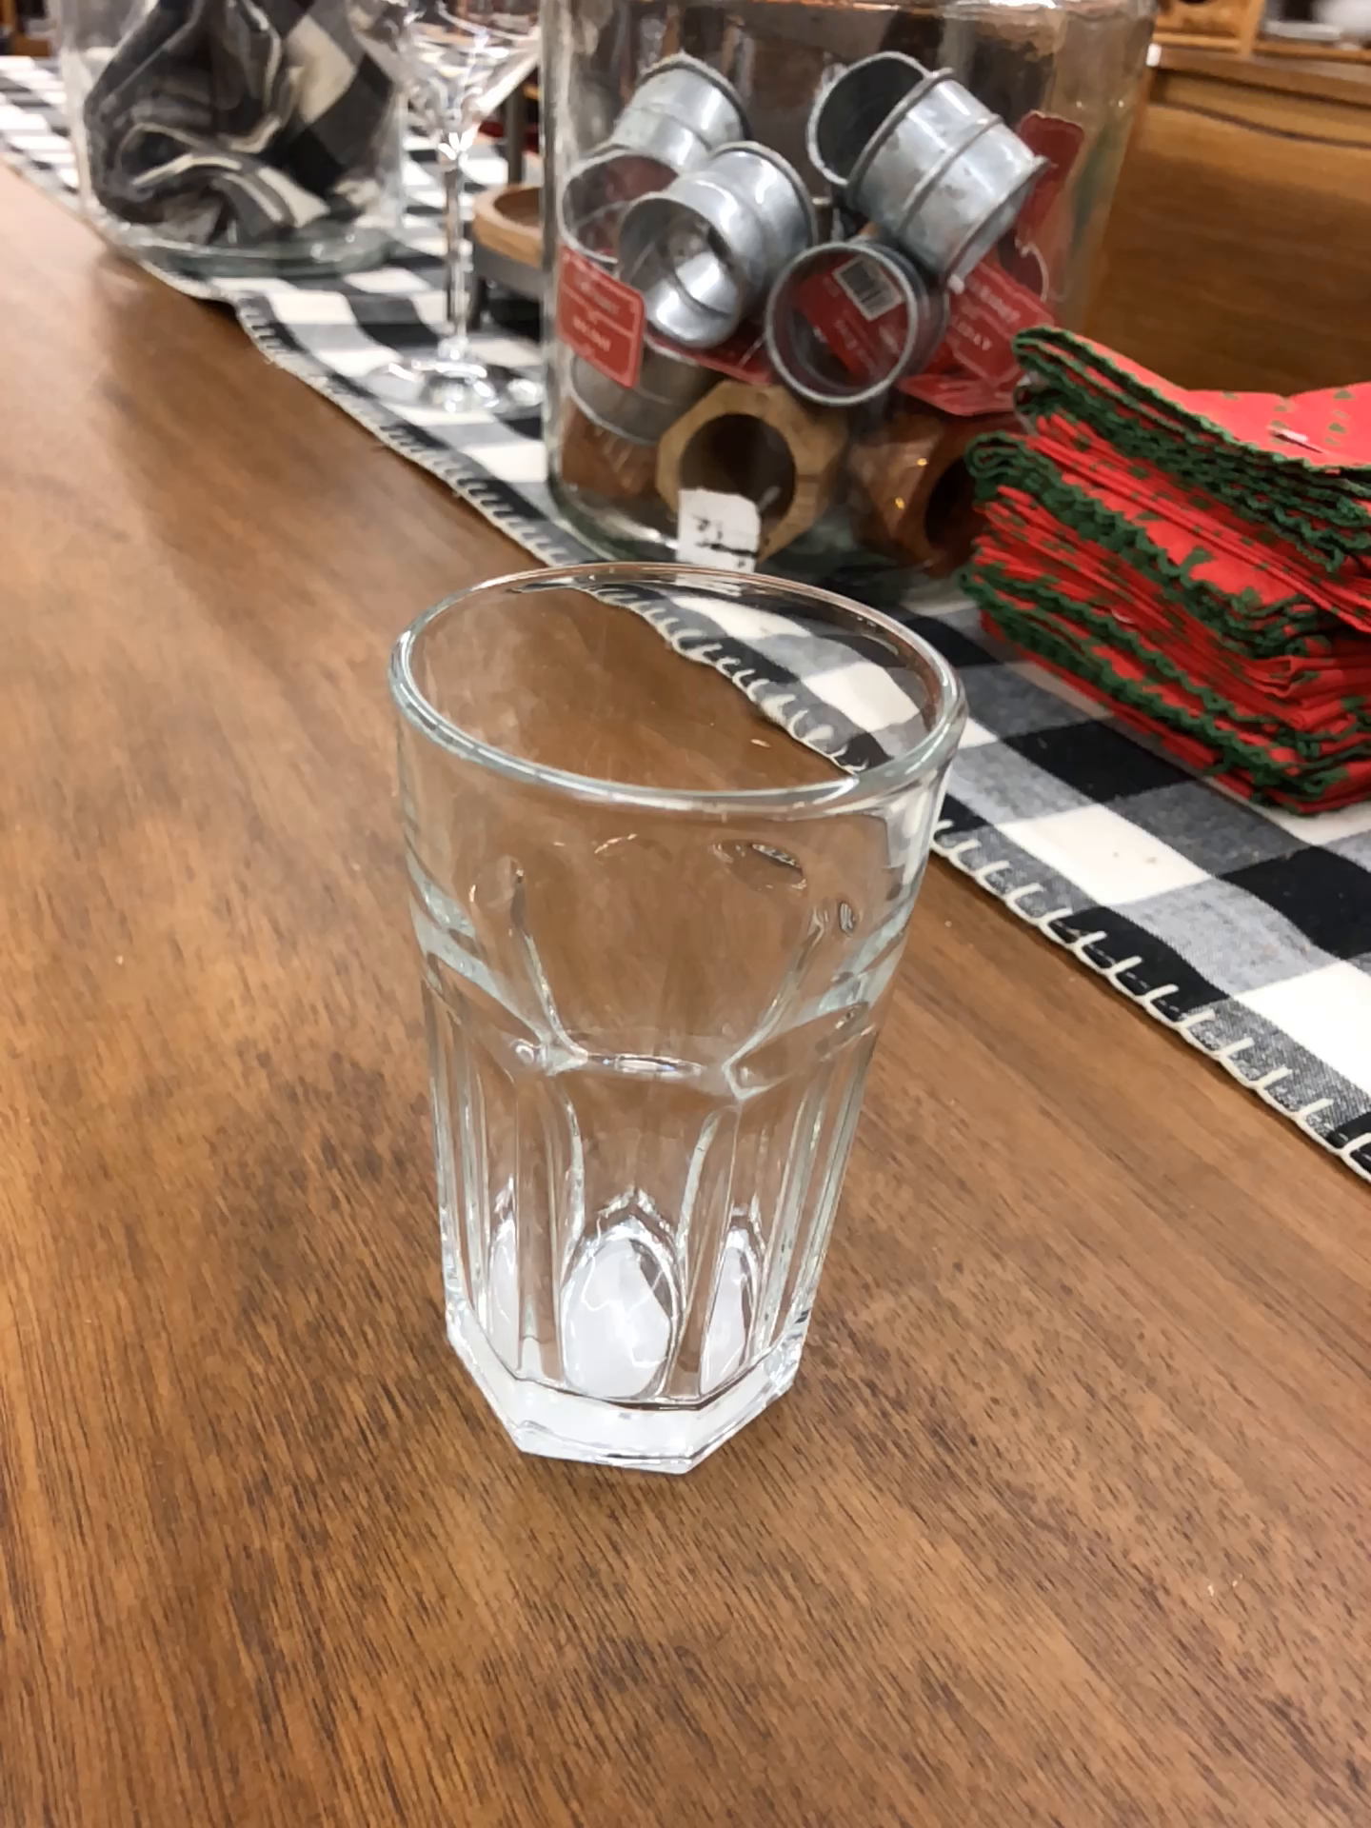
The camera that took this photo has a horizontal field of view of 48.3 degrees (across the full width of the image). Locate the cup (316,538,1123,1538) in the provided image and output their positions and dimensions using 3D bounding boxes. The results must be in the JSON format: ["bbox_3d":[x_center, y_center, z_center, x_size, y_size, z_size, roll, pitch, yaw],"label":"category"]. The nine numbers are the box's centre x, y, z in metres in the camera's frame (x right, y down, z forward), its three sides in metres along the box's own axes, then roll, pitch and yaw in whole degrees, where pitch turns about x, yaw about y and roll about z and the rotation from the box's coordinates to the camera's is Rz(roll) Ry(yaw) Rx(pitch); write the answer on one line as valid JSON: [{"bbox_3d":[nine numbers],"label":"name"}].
[{"bbox_3d":[-0.004,0.012,0.199,0.070,0.095,0.072,4,33,-2],"label":"cup"}]
